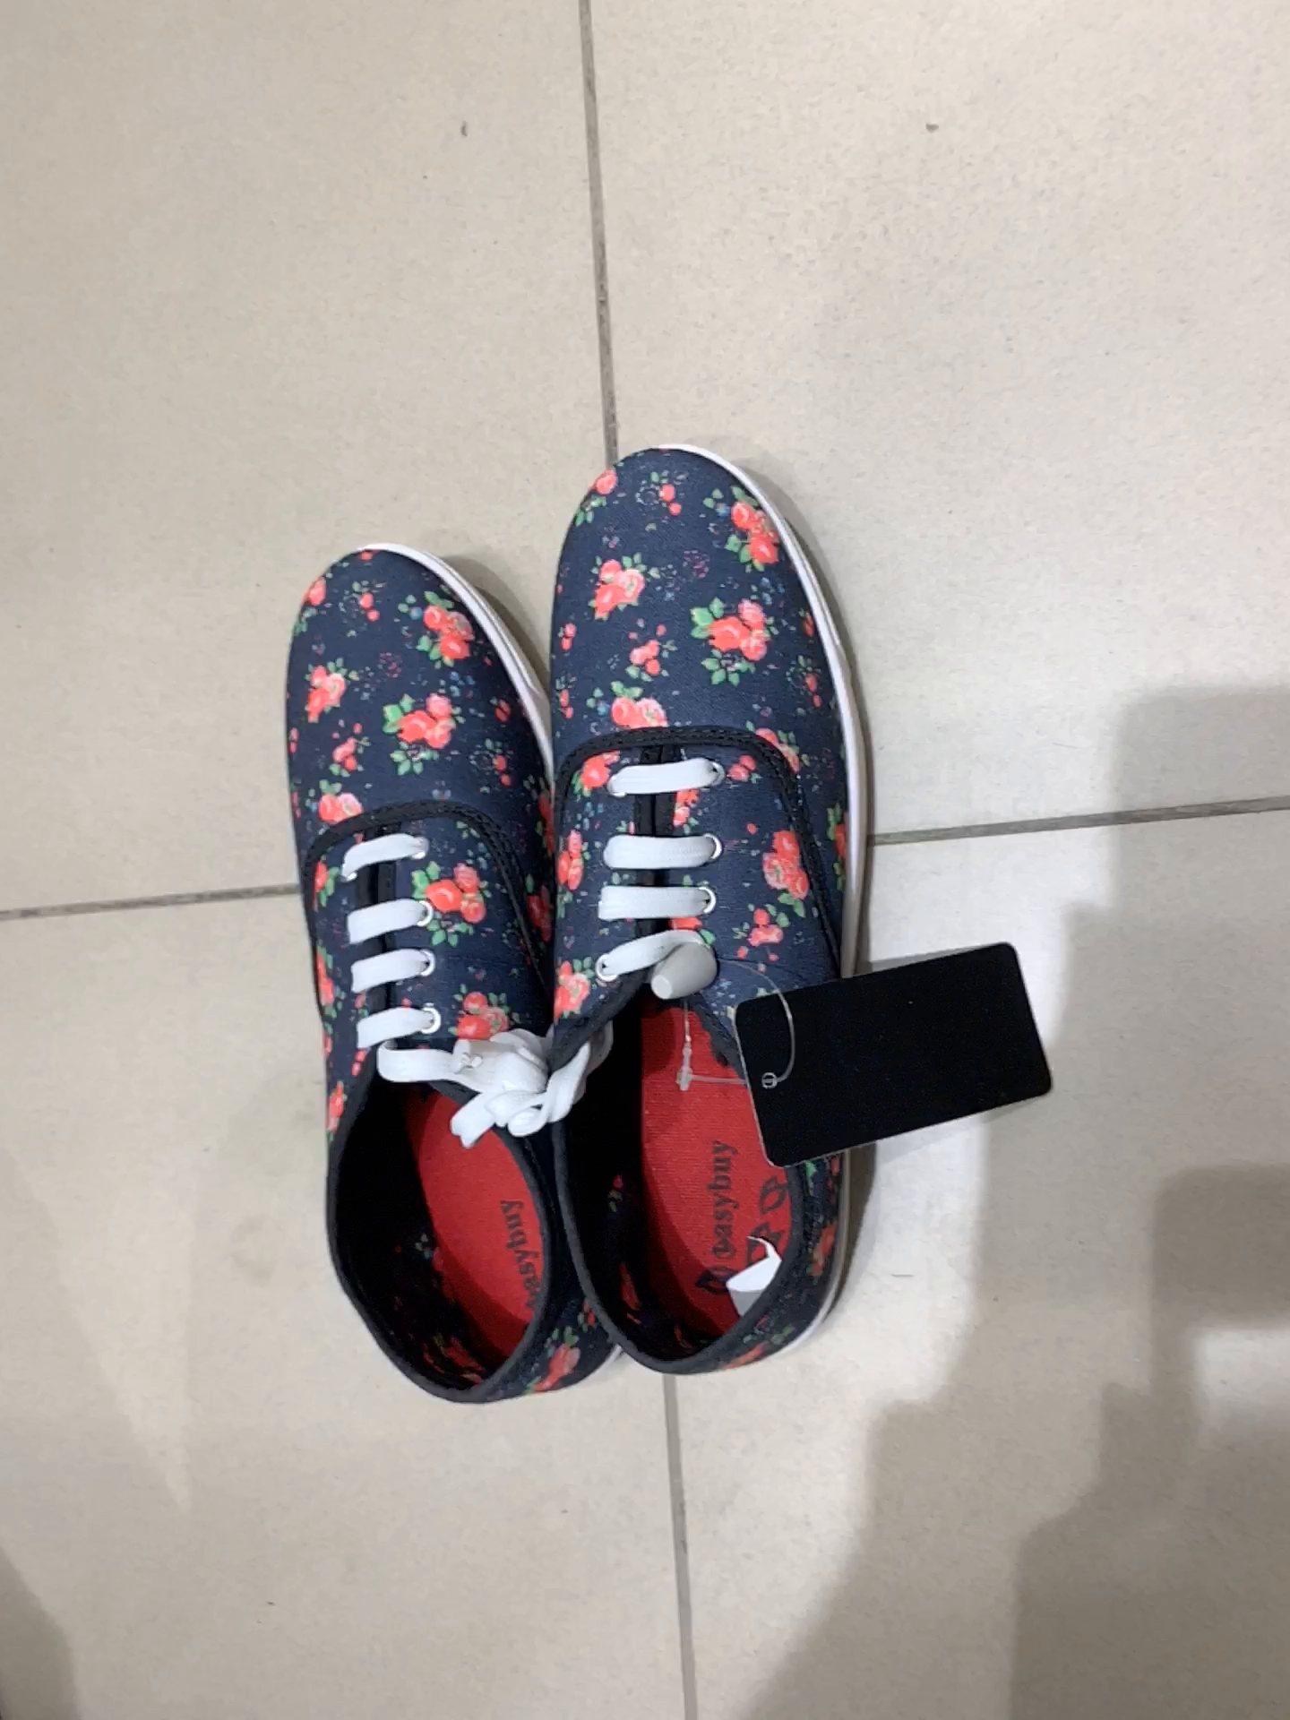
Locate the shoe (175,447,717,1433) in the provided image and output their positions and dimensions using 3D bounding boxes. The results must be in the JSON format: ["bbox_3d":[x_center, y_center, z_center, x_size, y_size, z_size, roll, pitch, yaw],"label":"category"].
[{"bbox_3d":[-0.062,0.025,0.422,0.100,0.080,0.270,-14,82,20],"label":"shoe"}]

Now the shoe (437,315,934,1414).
[{"bbox_3d":[0.013,0.004,0.380,0.100,0.080,0.270,-6,85,21],"label":"shoe"}]
